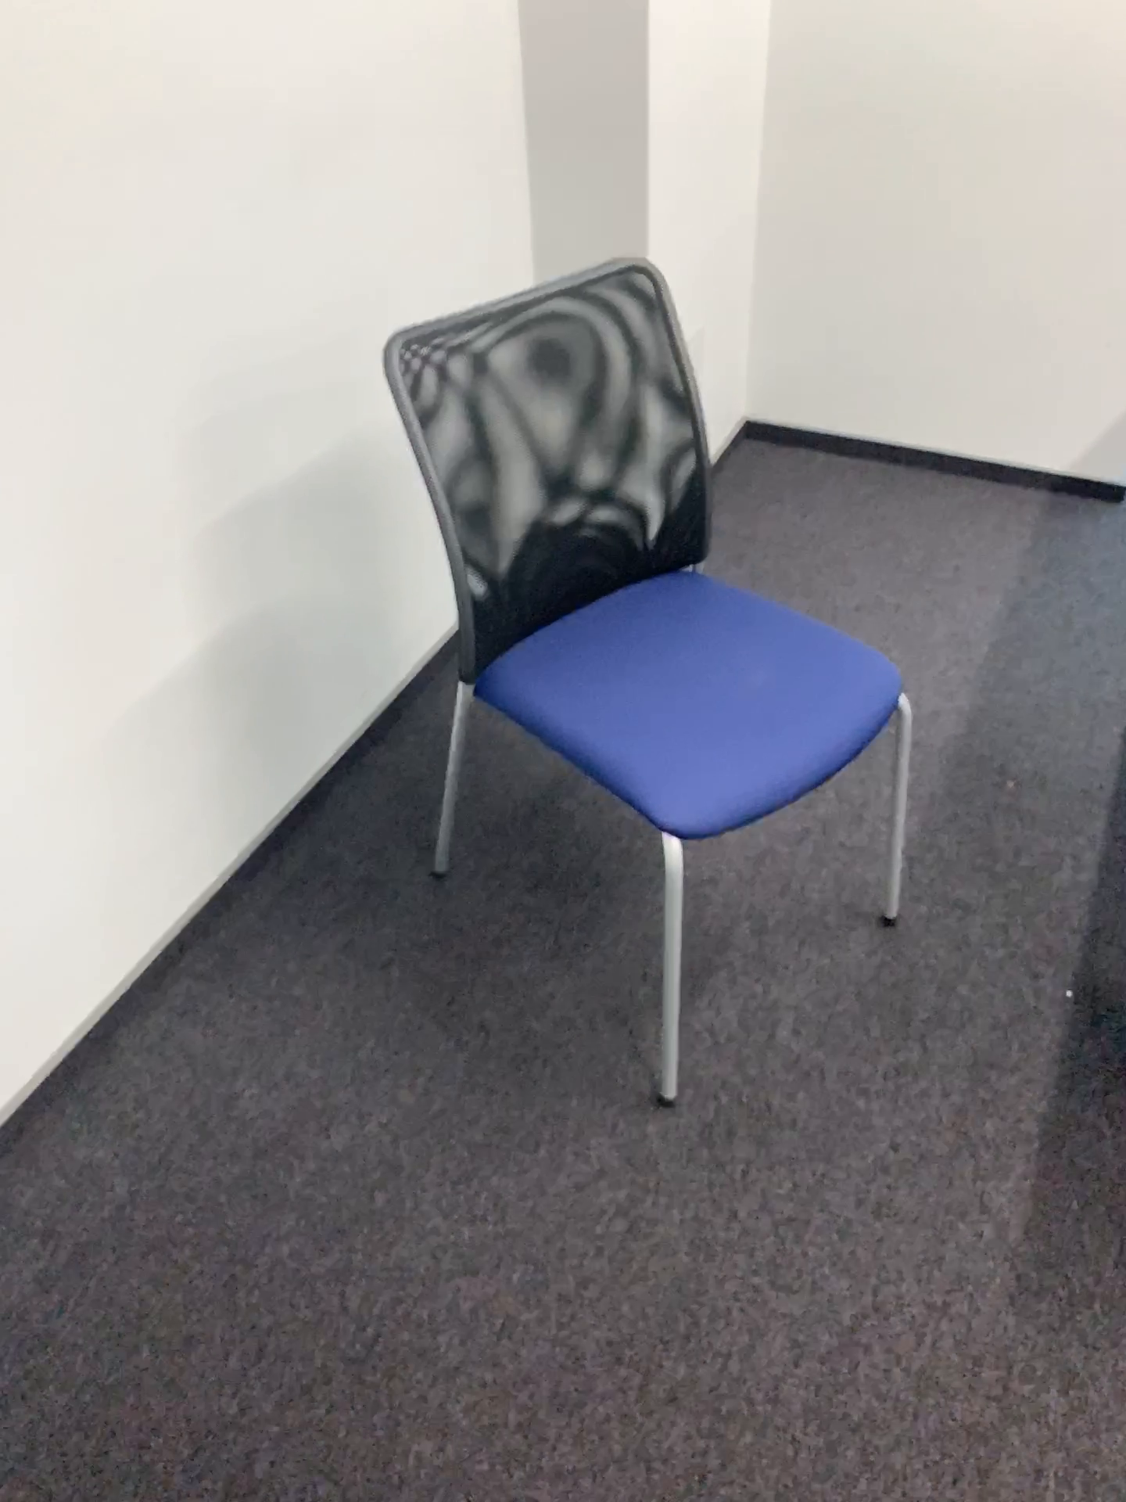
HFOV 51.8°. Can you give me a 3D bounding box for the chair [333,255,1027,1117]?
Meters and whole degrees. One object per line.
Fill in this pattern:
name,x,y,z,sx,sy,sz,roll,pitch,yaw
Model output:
chair,0.127,-0.091,1.562,0.491,0.865,0.592,-29,47,-27
